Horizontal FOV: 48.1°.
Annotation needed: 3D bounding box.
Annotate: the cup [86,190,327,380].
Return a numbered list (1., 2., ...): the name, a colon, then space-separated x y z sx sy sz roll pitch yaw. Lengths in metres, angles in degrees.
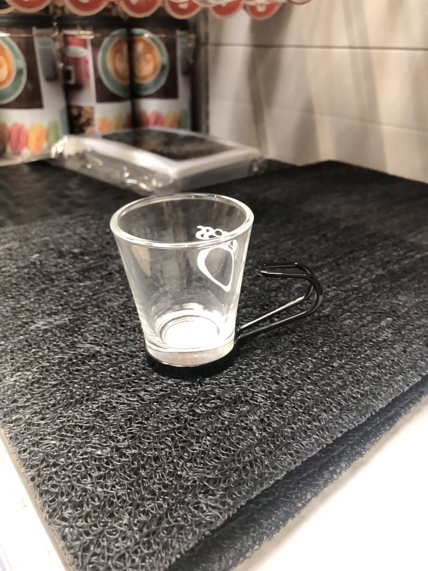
1. cup: -0.001 -0.005 0.218 0.087 0.059 0.073 1 25 3
